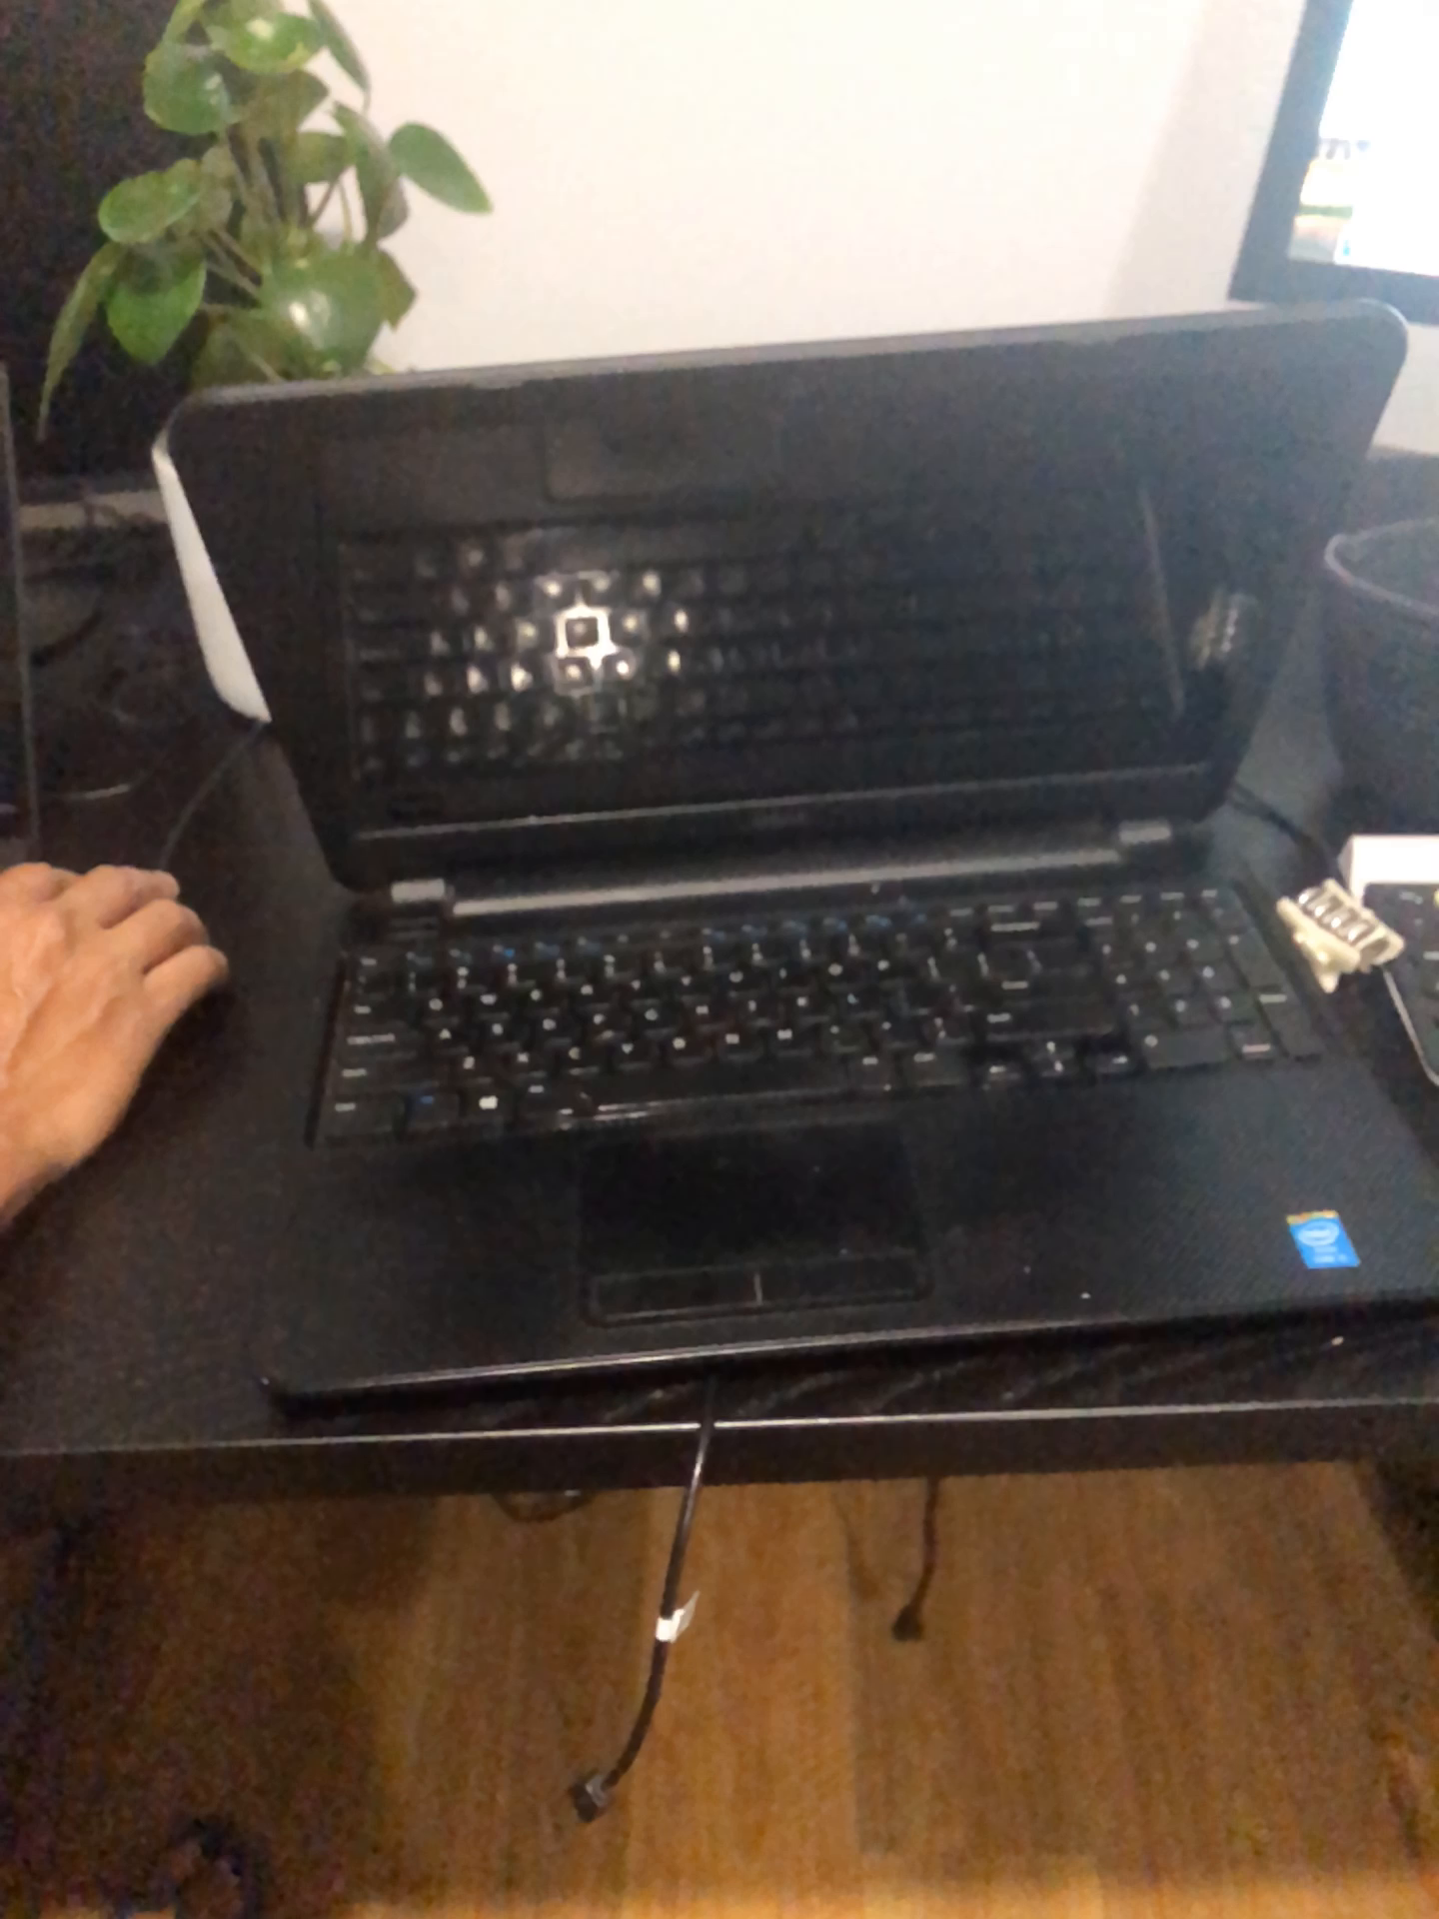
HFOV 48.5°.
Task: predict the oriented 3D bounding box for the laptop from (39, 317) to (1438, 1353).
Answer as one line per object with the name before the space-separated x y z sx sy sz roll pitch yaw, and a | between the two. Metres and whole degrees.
laptop | 0.025 -0.045 0.495 0.366 0.210 0.207 -4 37 0
